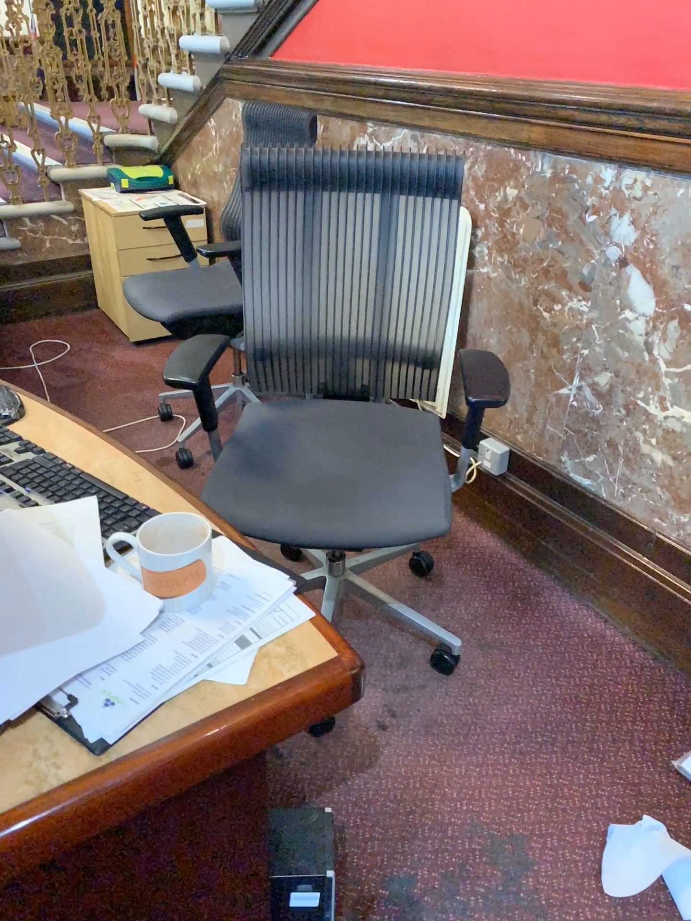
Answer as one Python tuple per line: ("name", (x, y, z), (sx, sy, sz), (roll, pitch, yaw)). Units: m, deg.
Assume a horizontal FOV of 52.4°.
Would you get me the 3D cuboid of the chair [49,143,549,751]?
("chair", (-0.055, -0.049, 1.583), (0.720, 1.129, 0.697), (4, 30, 4))
